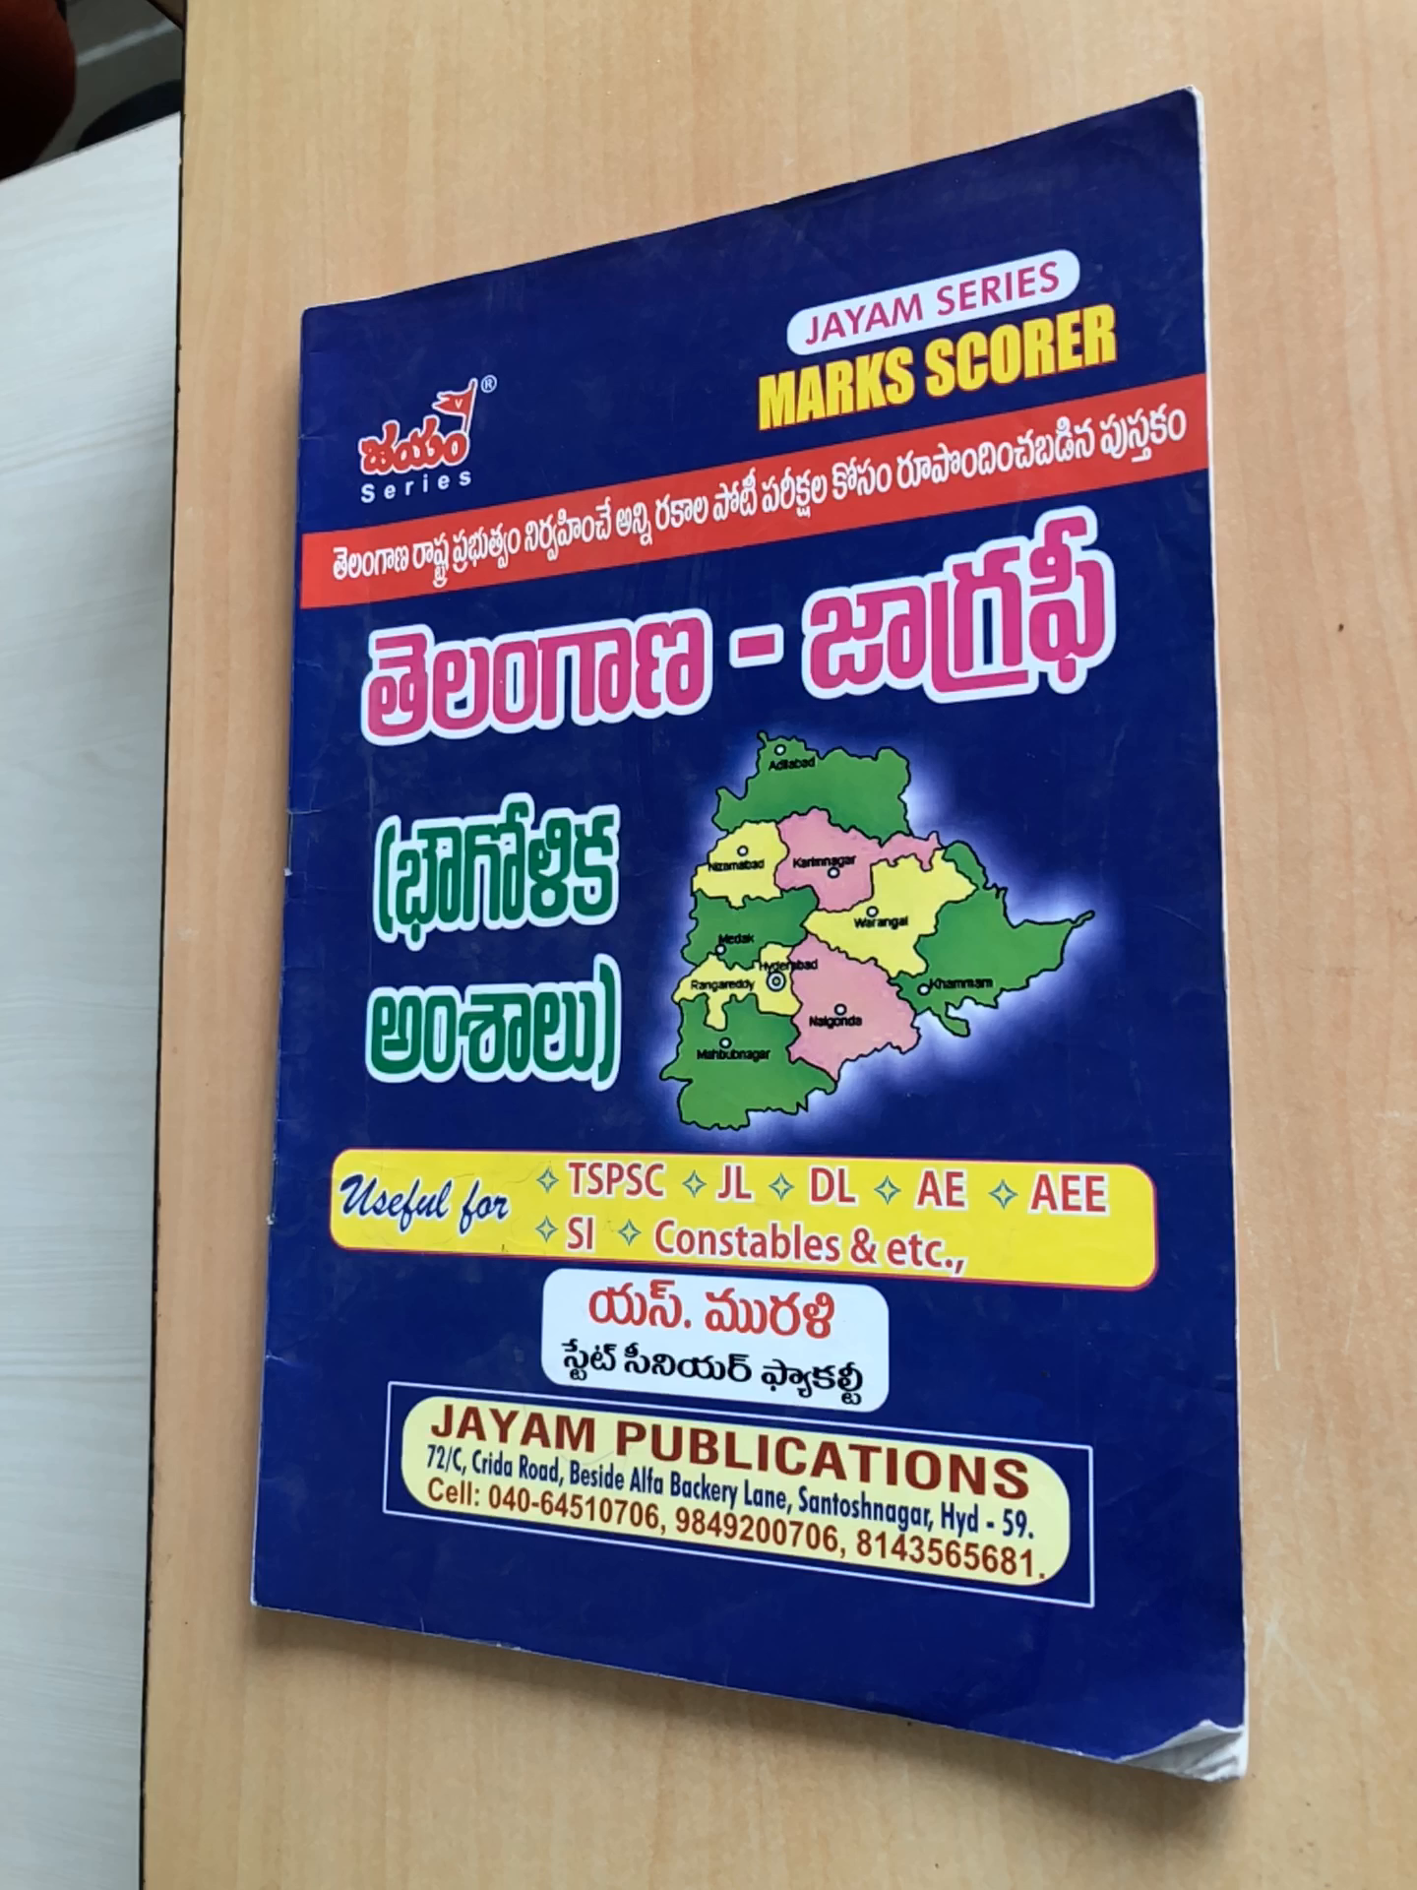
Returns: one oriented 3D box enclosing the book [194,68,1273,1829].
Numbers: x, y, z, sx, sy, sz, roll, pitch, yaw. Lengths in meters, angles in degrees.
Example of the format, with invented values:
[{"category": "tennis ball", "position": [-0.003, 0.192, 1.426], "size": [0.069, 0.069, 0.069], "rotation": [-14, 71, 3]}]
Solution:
[{"category": "book", "position": [-0.001, -0.004, 0.308], "size": [0.200, 0.040, 0.280], "rotation": [-2, 83, 24]}]
